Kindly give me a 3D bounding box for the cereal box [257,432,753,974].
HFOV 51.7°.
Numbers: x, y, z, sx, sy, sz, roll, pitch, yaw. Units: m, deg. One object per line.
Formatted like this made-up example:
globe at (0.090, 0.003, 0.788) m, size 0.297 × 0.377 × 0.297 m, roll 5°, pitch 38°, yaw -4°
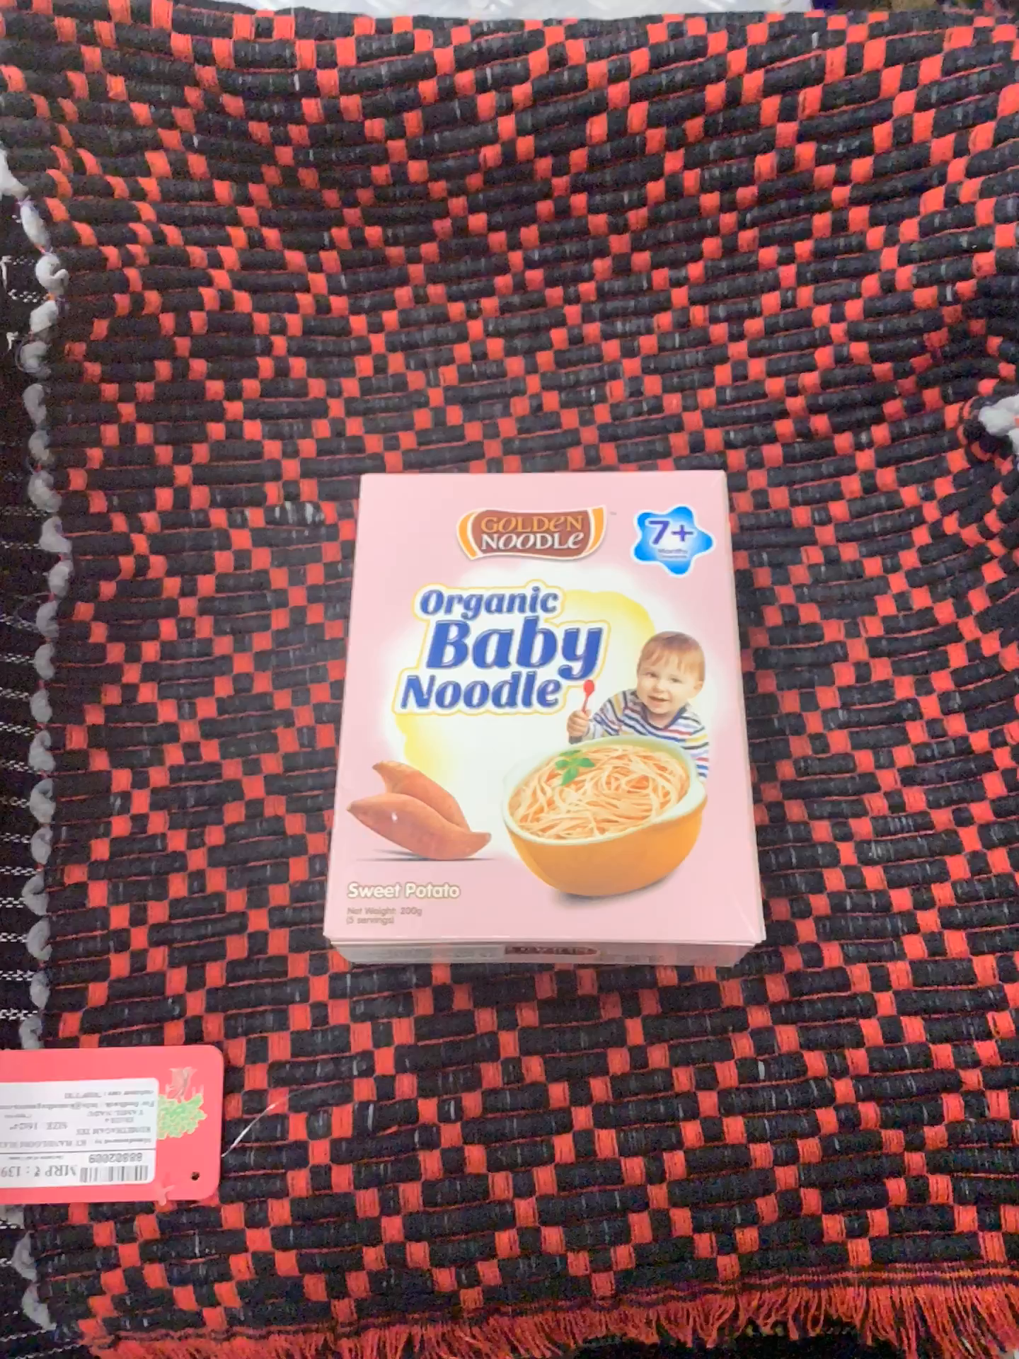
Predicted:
cereal box at (0.000, 0.006, 0.328) m, size 0.130 × 0.050 × 0.160 m, roll 0°, pitch 68°, yaw 3°
